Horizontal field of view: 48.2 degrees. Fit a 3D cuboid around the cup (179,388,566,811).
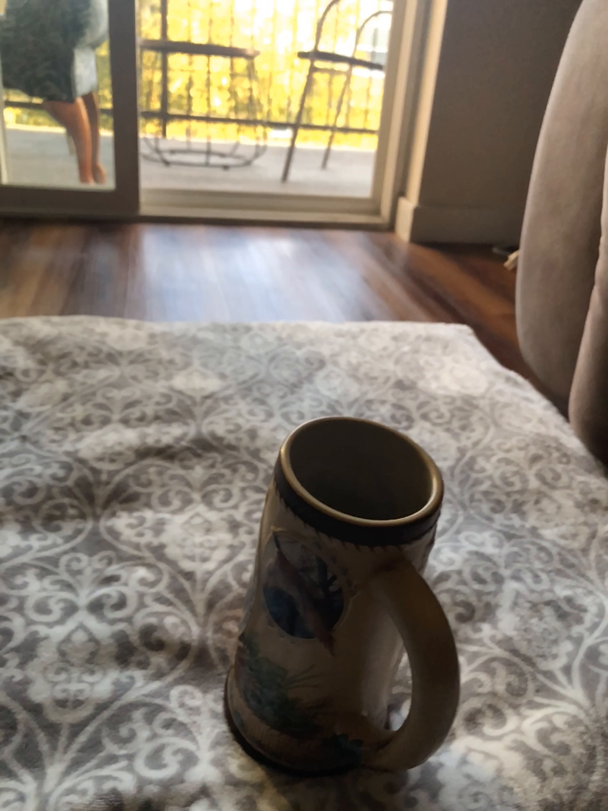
[{"bbox_3d":[0.013,0.116,0.350,0.099,0.188,0.145,-11,40,-28],"label":"cup"}]
